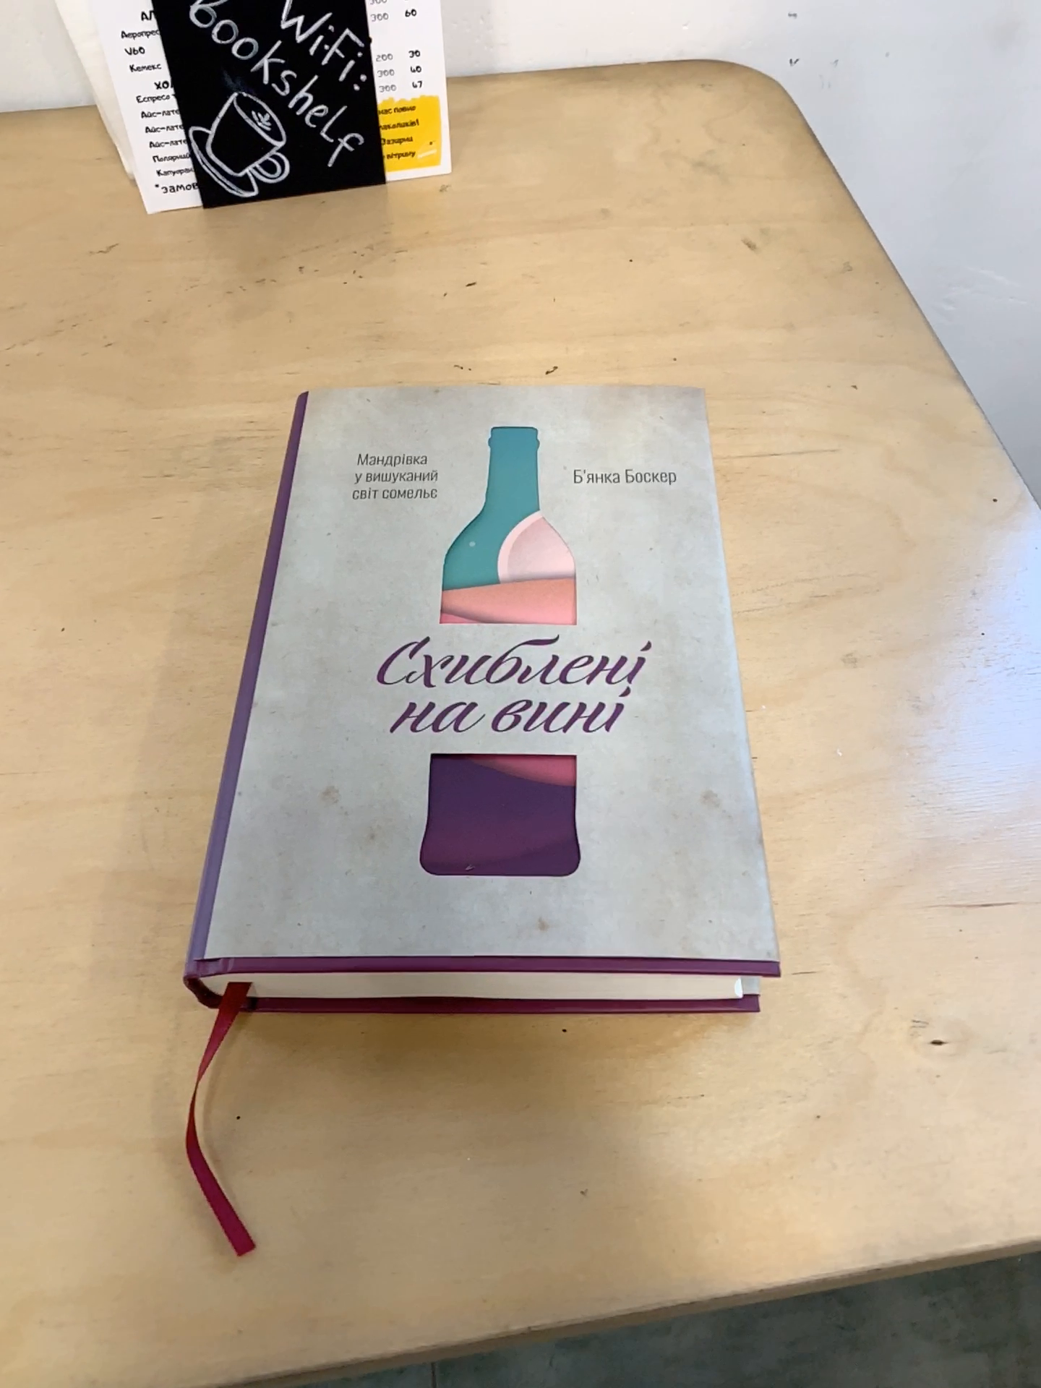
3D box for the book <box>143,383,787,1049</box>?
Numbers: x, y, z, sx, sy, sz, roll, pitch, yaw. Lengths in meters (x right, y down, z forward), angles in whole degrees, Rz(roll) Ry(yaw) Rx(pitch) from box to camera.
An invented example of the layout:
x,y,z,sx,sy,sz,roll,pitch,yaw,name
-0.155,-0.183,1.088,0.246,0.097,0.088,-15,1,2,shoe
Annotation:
x,y,z,sx,sy,sz,roll,pitch,yaw,name
-0.012,-0.006,0.332,0.150,0.050,0.214,1,54,0,book
